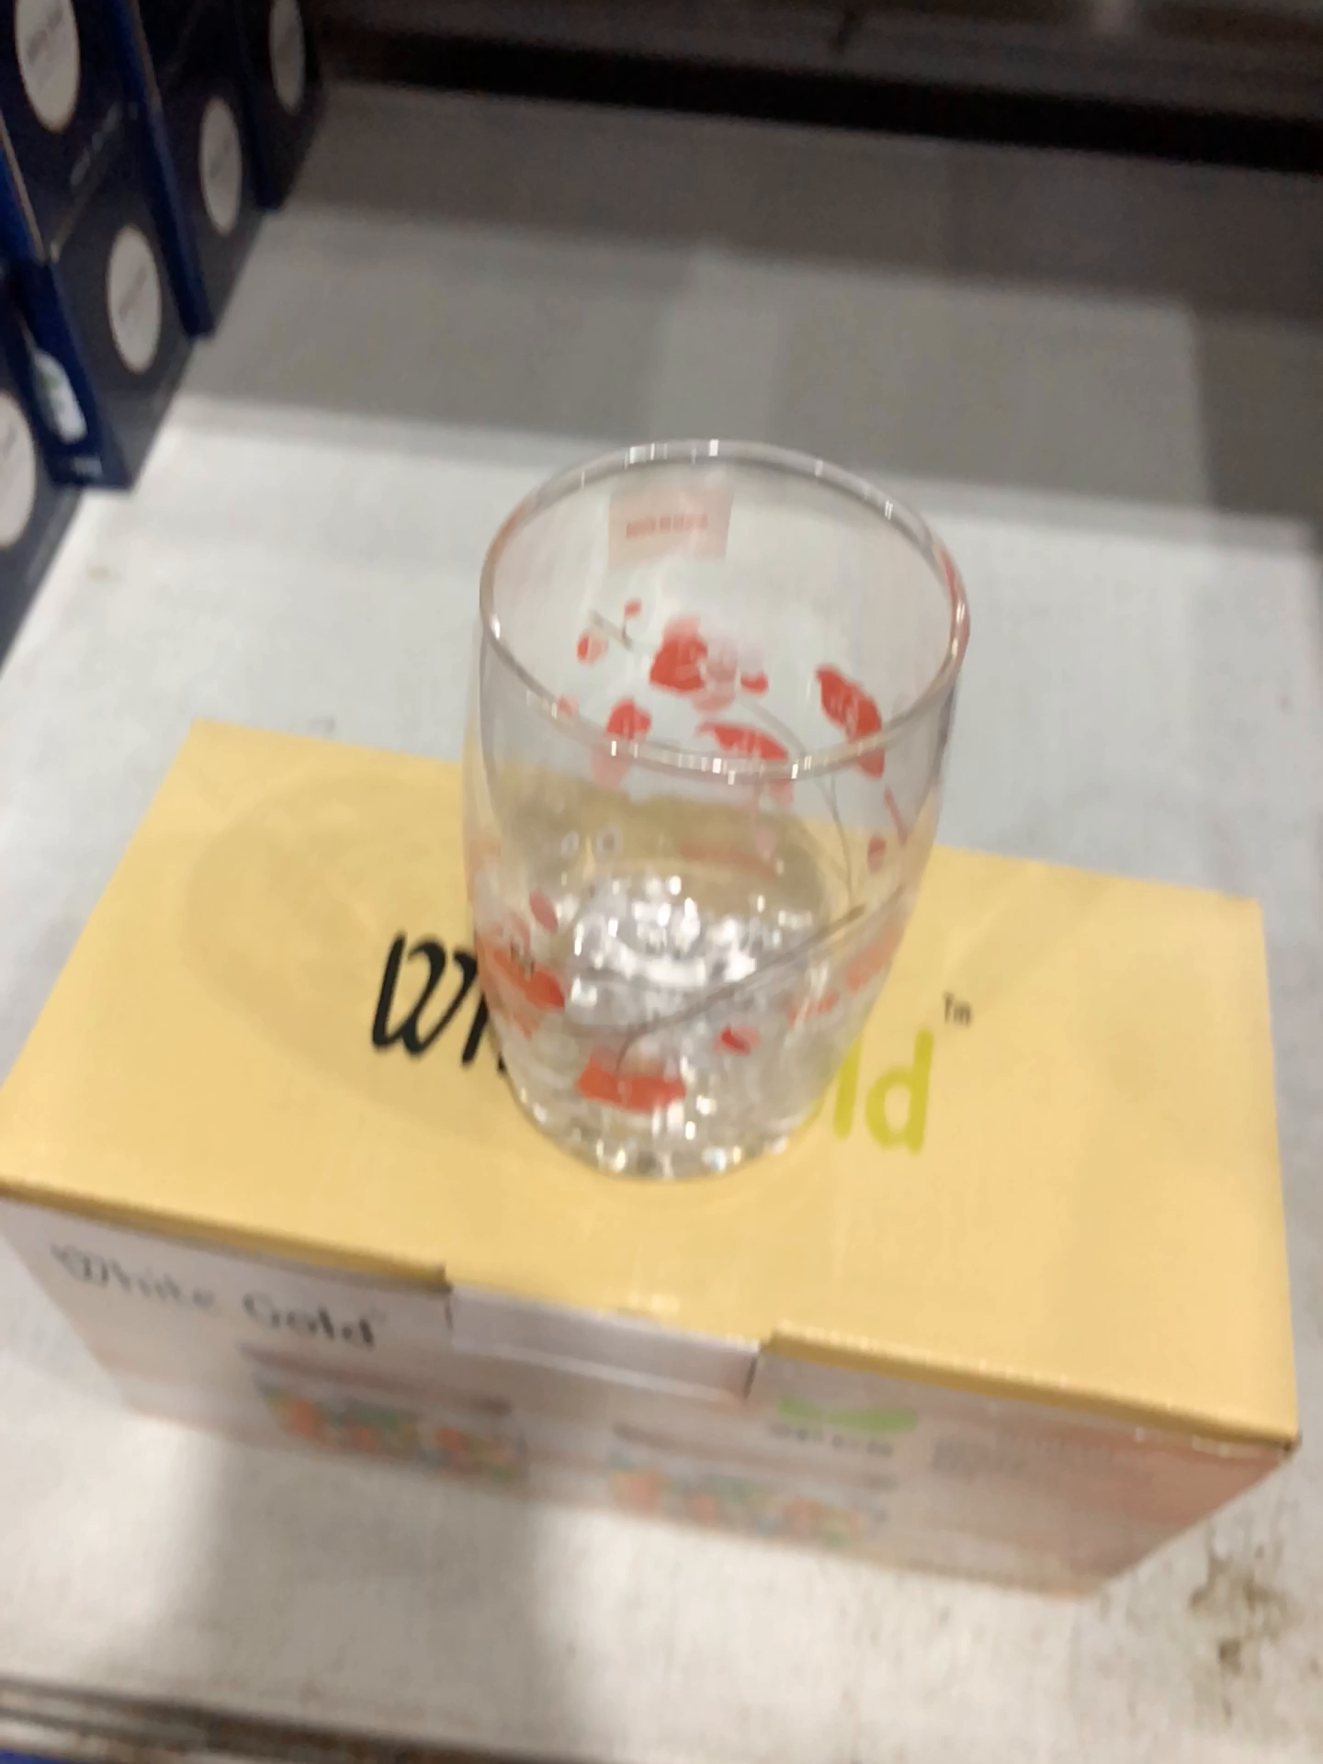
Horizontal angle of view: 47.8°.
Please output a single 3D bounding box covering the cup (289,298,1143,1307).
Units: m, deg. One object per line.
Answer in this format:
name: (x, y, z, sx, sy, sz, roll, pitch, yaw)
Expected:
cup: (0.009, -0.007, 0.223, 0.080, 0.110, 0.080, 1, 54, -2)
